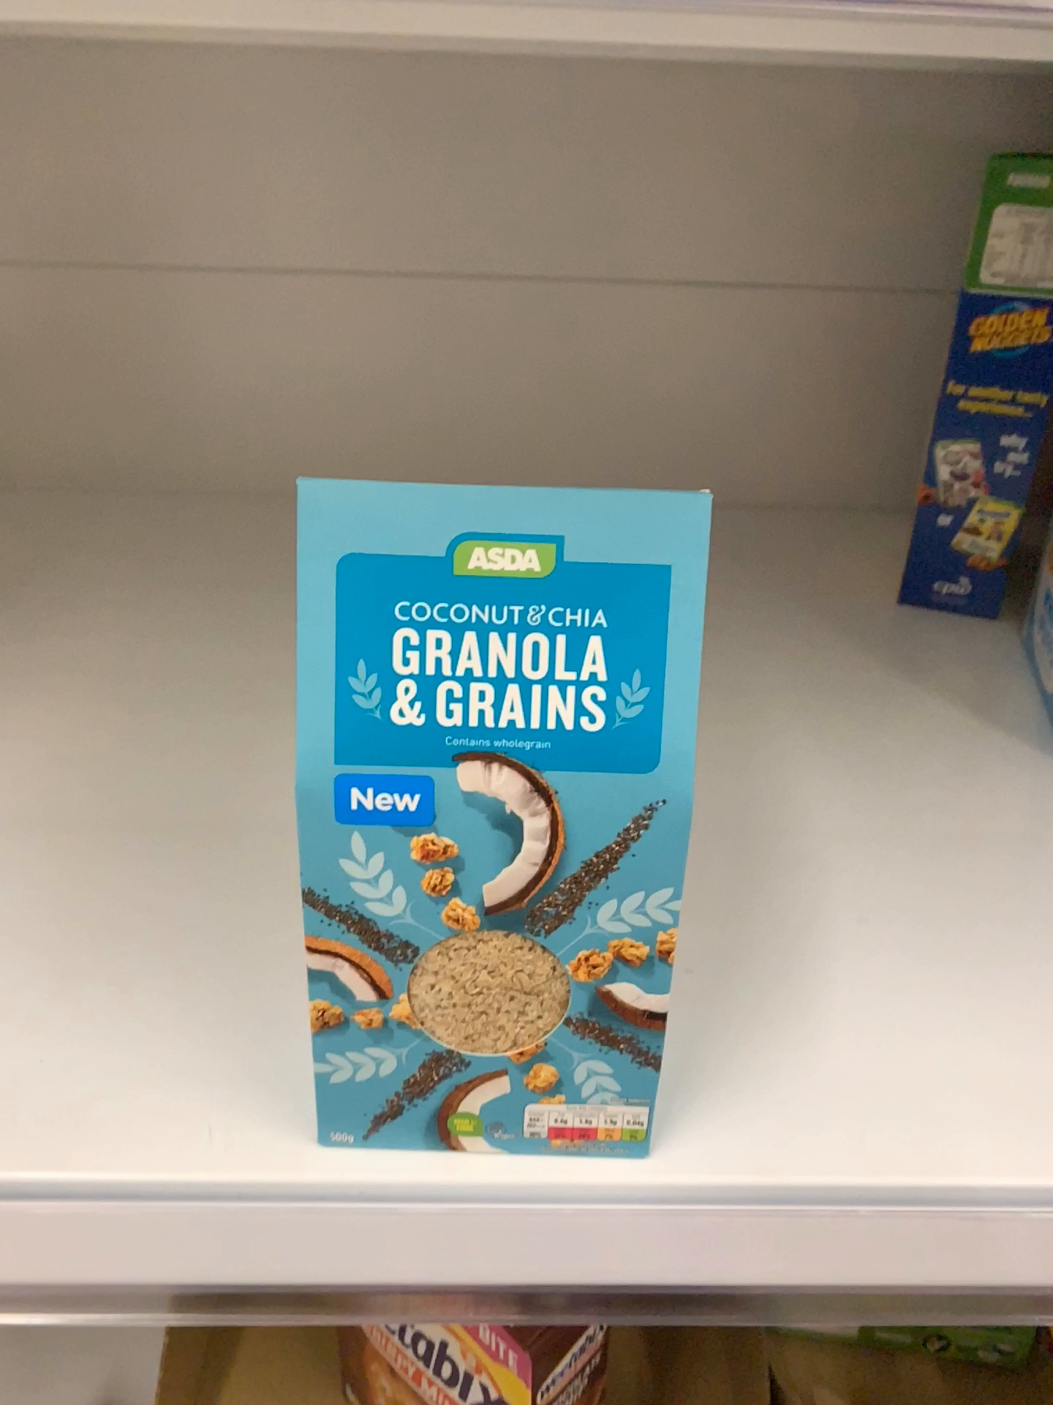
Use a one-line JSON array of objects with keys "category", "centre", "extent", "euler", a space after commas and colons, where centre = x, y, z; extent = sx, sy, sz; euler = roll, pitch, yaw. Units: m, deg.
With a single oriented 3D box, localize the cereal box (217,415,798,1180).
[{"category": "cereal box", "centre": [-0.008, 0.039, 0.350], "extent": [0.140, 0.238, 0.071], "euler": [3, 29, 1]}]
